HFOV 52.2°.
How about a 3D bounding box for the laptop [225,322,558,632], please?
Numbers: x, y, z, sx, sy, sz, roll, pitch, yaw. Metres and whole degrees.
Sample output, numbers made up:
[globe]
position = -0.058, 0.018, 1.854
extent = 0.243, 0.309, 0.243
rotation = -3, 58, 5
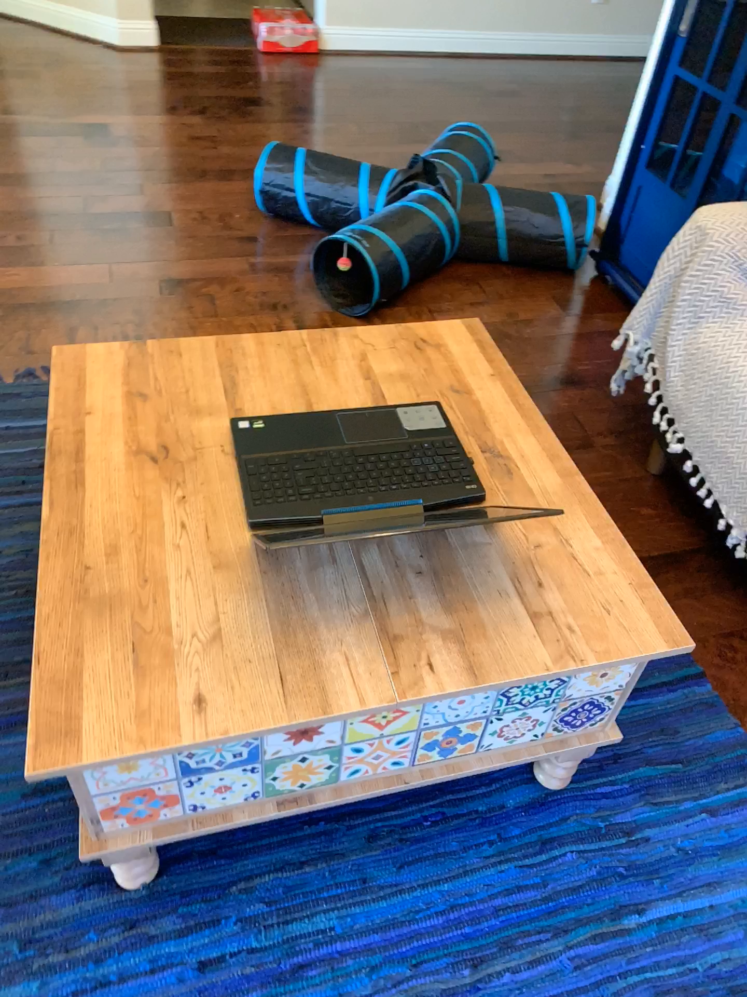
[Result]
[laptop]
position = -0.005, -0.057, 1.060
extent = 0.345, 0.156, 0.420
rotation = -6, 45, -14
